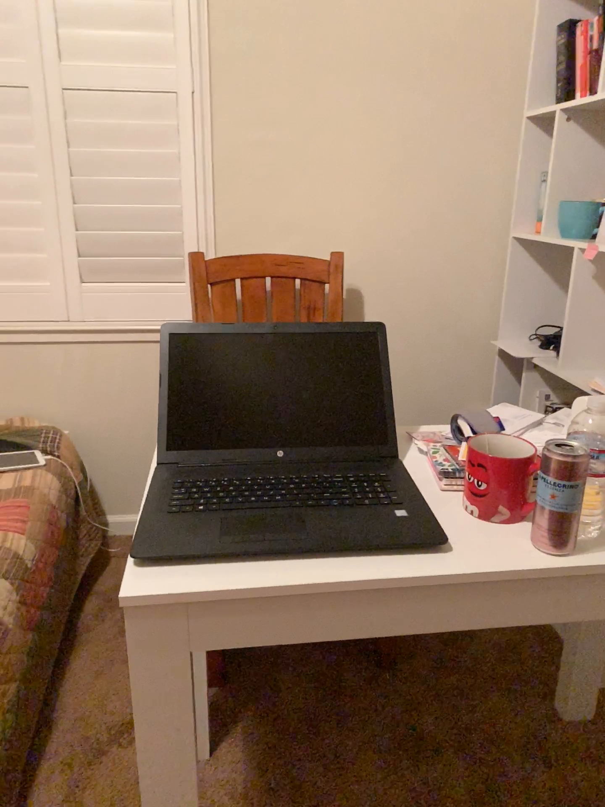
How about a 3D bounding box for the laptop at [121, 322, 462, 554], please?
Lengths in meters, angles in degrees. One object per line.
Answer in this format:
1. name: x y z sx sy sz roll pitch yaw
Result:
1. laptop: -0.029 0.018 0.951 0.400 0.197 0.418 -1 19 -5
